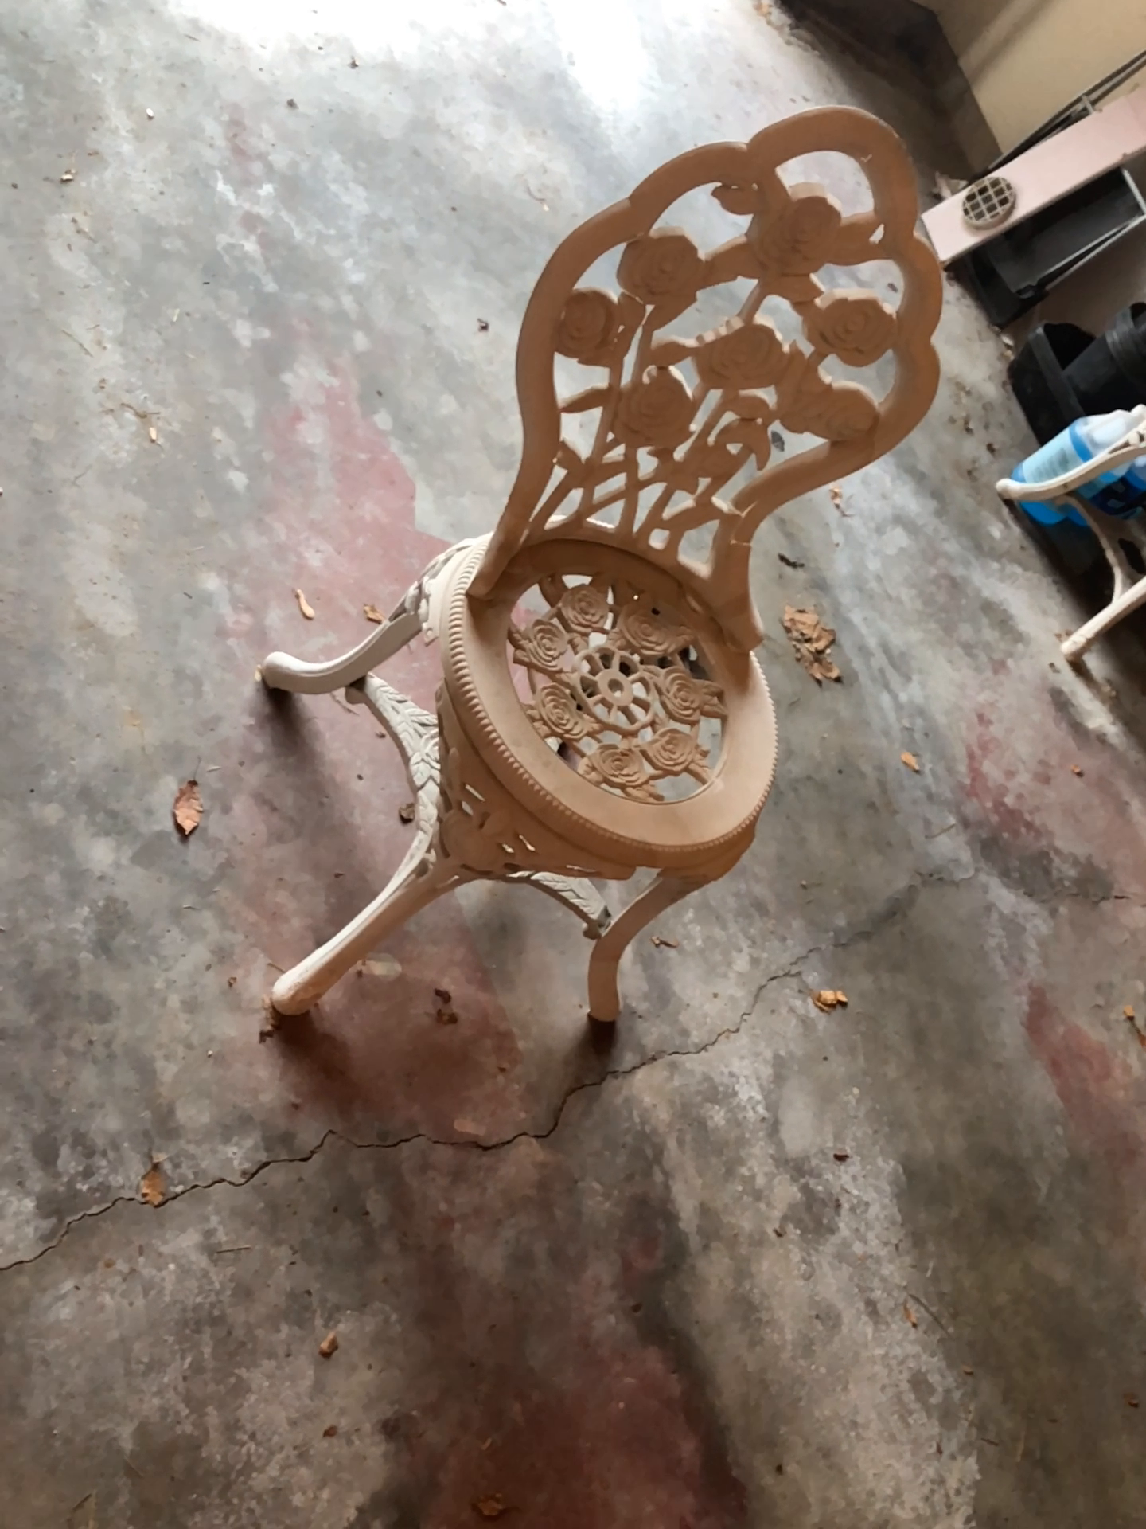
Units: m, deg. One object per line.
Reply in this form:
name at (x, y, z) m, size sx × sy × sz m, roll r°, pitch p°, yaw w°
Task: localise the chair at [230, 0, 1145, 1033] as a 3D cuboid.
chair at (0.062, -0.113, 1.235) m, size 0.492 × 0.897 × 0.500 m, roll 7°, pitch 60°, yaw -32°
